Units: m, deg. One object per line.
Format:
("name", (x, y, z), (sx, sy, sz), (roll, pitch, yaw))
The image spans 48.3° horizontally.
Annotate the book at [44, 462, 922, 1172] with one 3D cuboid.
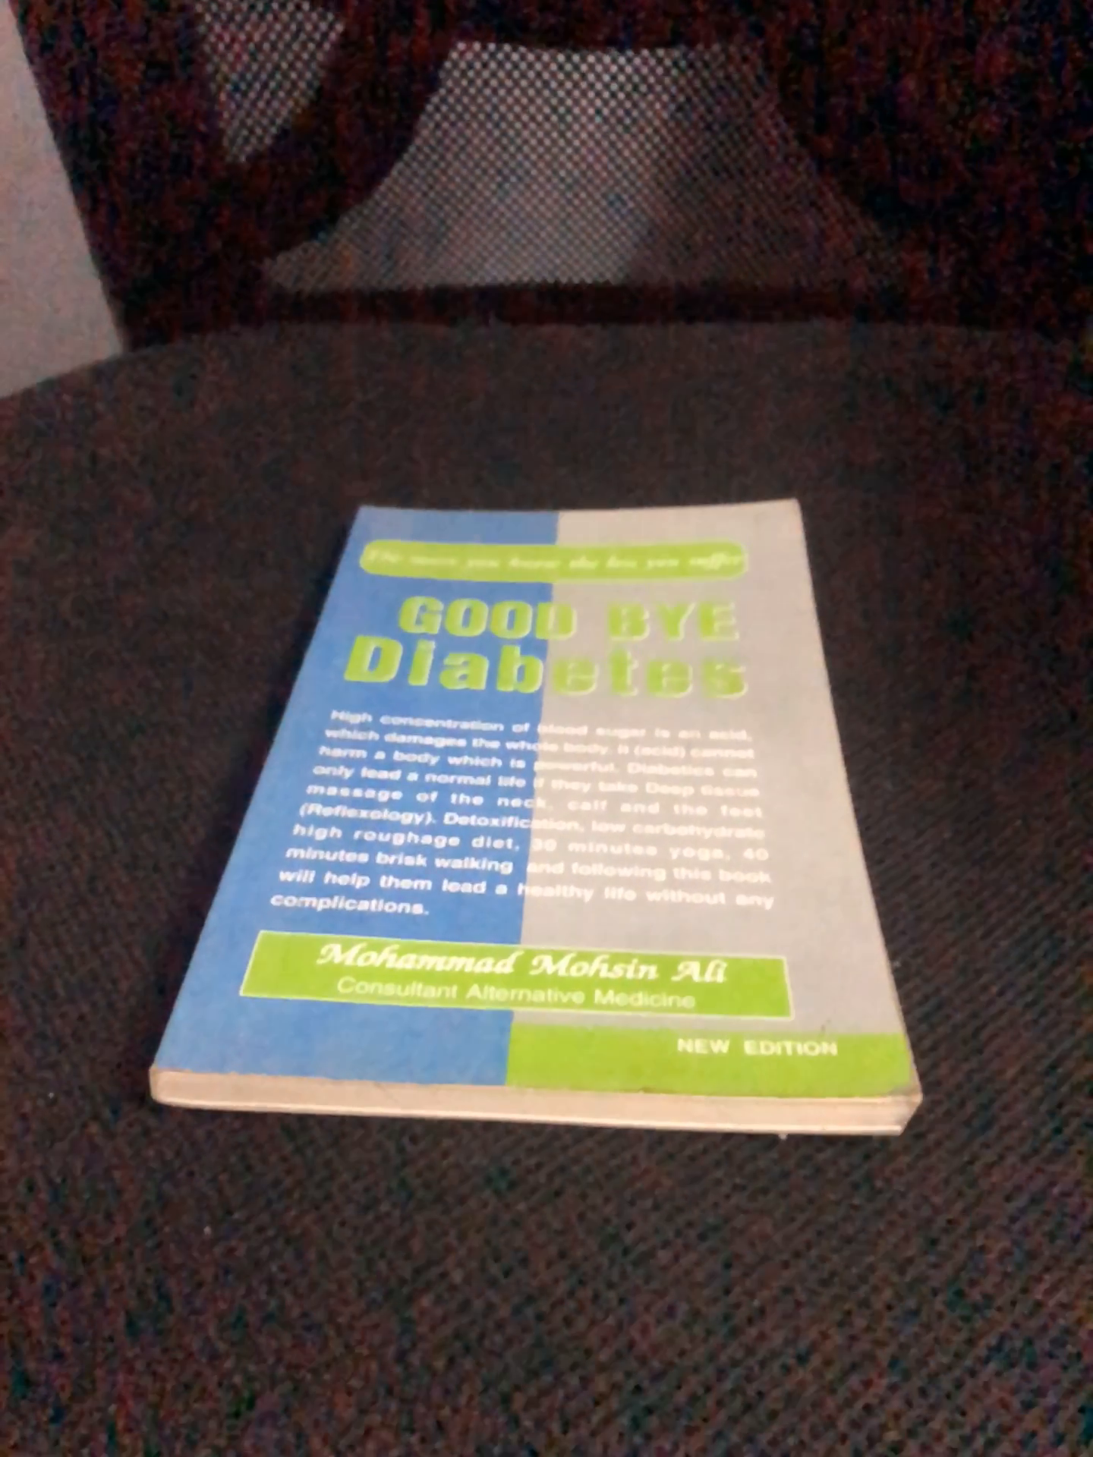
("book", (-0.006, -0.003, 0.303), (0.150, 0.020, 0.231), (1, 39, 3))
